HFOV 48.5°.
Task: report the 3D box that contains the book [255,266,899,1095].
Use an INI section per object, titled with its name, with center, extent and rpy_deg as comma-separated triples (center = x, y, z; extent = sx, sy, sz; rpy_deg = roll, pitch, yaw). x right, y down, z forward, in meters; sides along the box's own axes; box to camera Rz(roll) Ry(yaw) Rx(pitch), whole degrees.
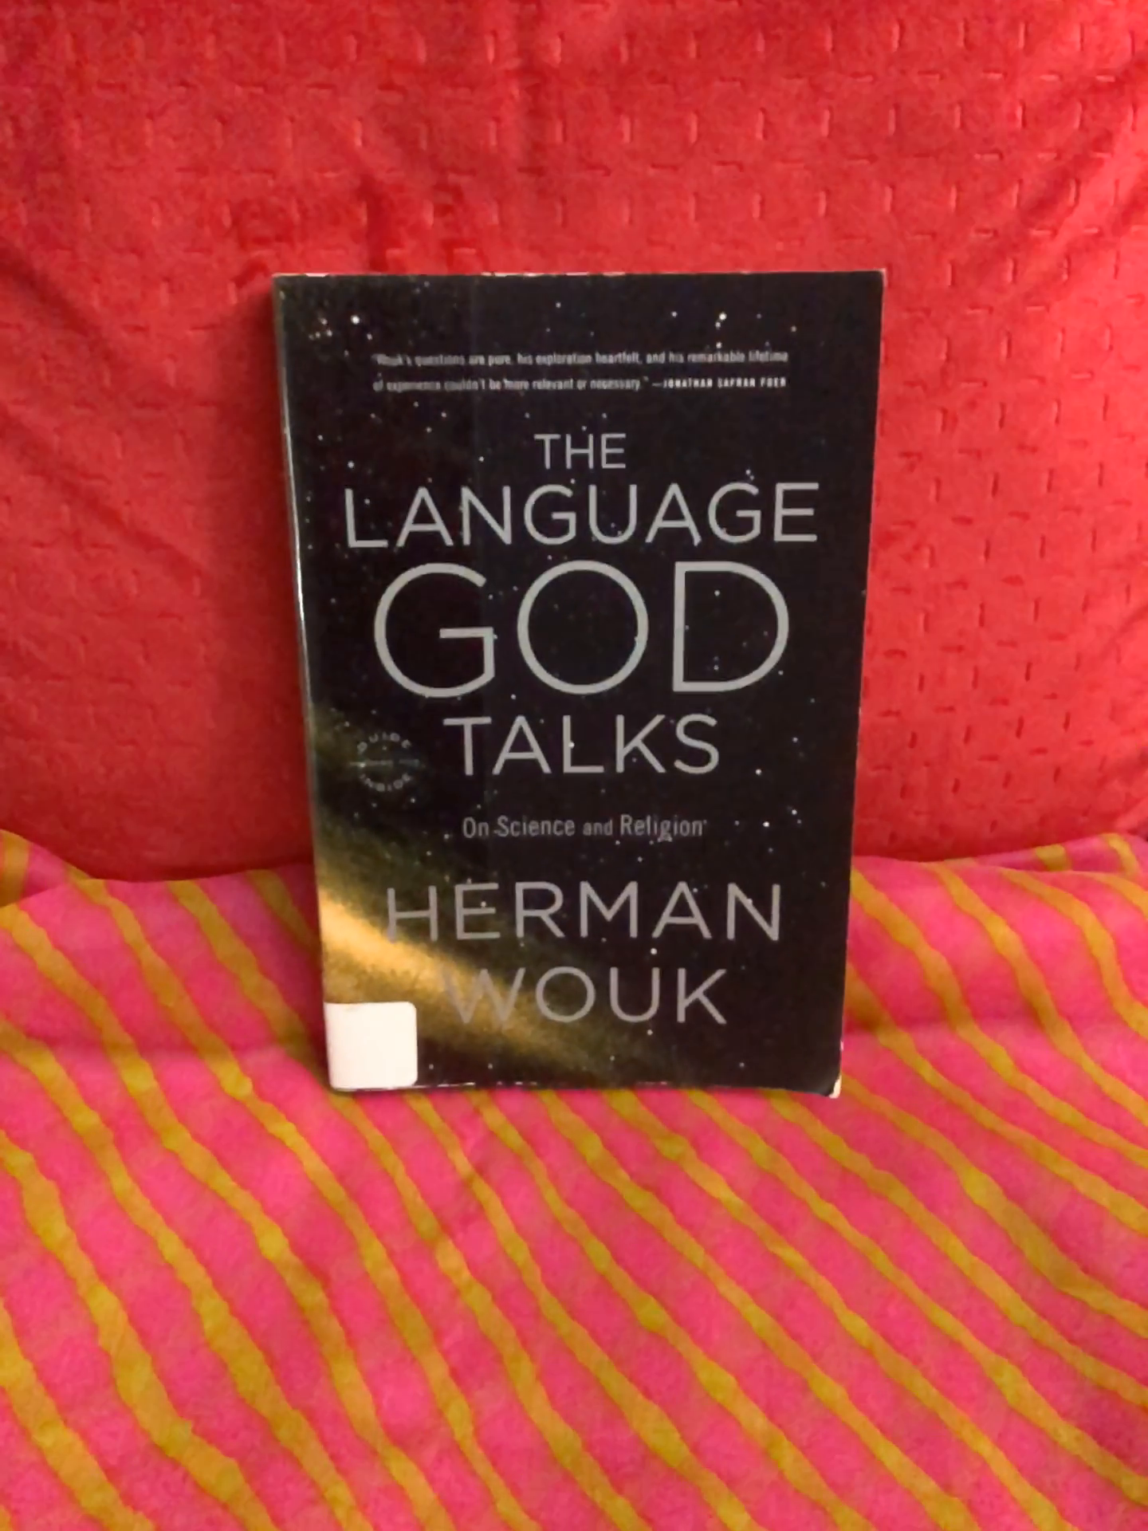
[book]
center = 0.001, -0.015, 0.316
extent = 0.138, 0.199, 0.030
rpy_deg = -1, 17, -1
